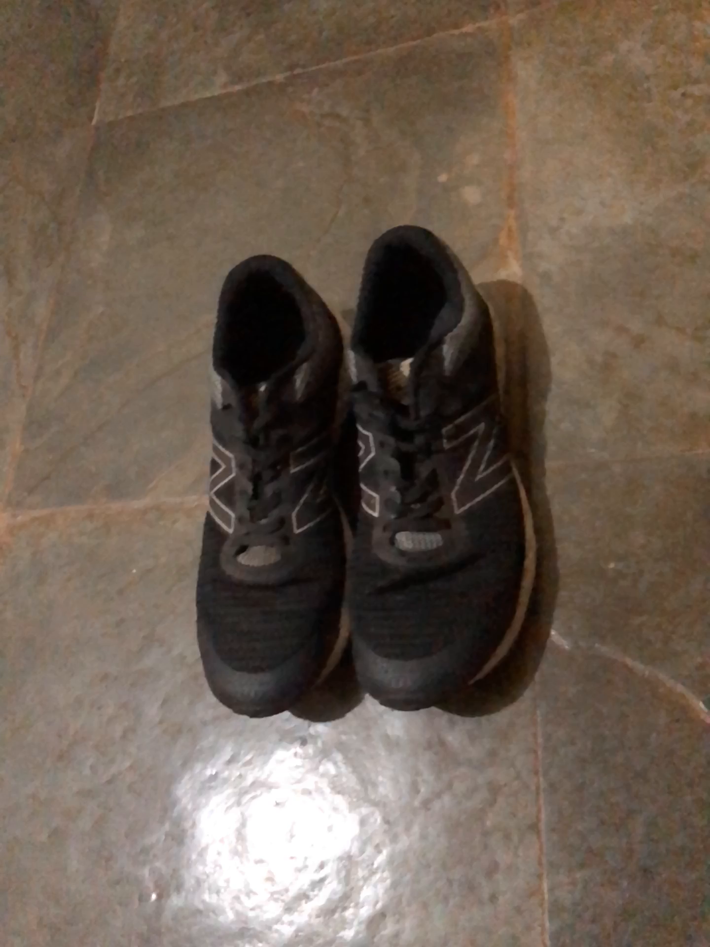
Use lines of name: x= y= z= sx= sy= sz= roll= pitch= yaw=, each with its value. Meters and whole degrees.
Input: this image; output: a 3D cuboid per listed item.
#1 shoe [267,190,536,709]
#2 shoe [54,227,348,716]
shoe: x=0.026 y=-0.012 z=0.440 sx=0.110 sy=0.100 sz=0.261 roll=-9 pitch=65 yaw=16
shoe: x=-0.079 y=0.001 z=0.469 sx=0.120 sy=0.100 sz=0.261 roll=-9 pitch=65 yaw=16
